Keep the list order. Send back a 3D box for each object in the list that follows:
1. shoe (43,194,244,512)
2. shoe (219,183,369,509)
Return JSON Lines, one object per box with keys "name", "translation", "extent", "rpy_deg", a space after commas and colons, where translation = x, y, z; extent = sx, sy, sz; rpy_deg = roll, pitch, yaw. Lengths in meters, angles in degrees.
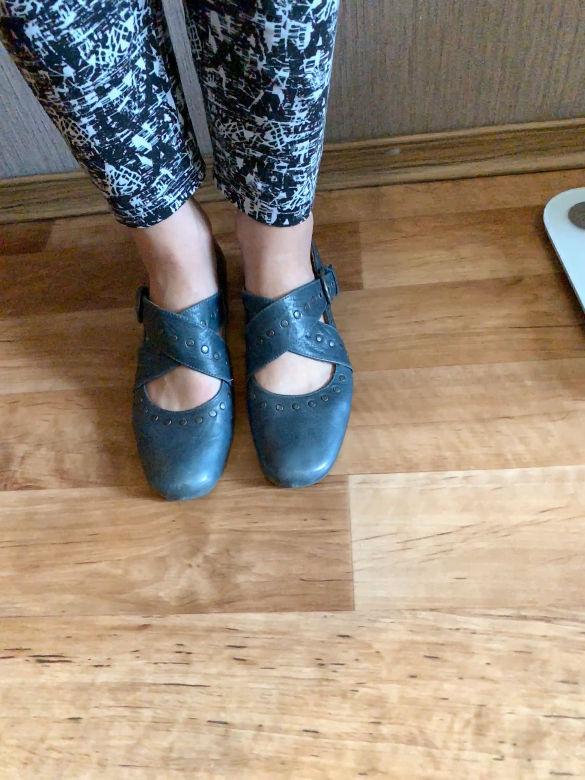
{"name": "shoe", "translation": [-0.099, -0.038, 0.474], "extent": [0.090, 0.100, 0.241], "rpy_deg": [-3, 51, 6]}
{"name": "shoe", "translation": [-0.004, -0.046, 0.482], "extent": [0.090, 0.100, 0.251], "rpy_deg": [-7, 51, 3]}
